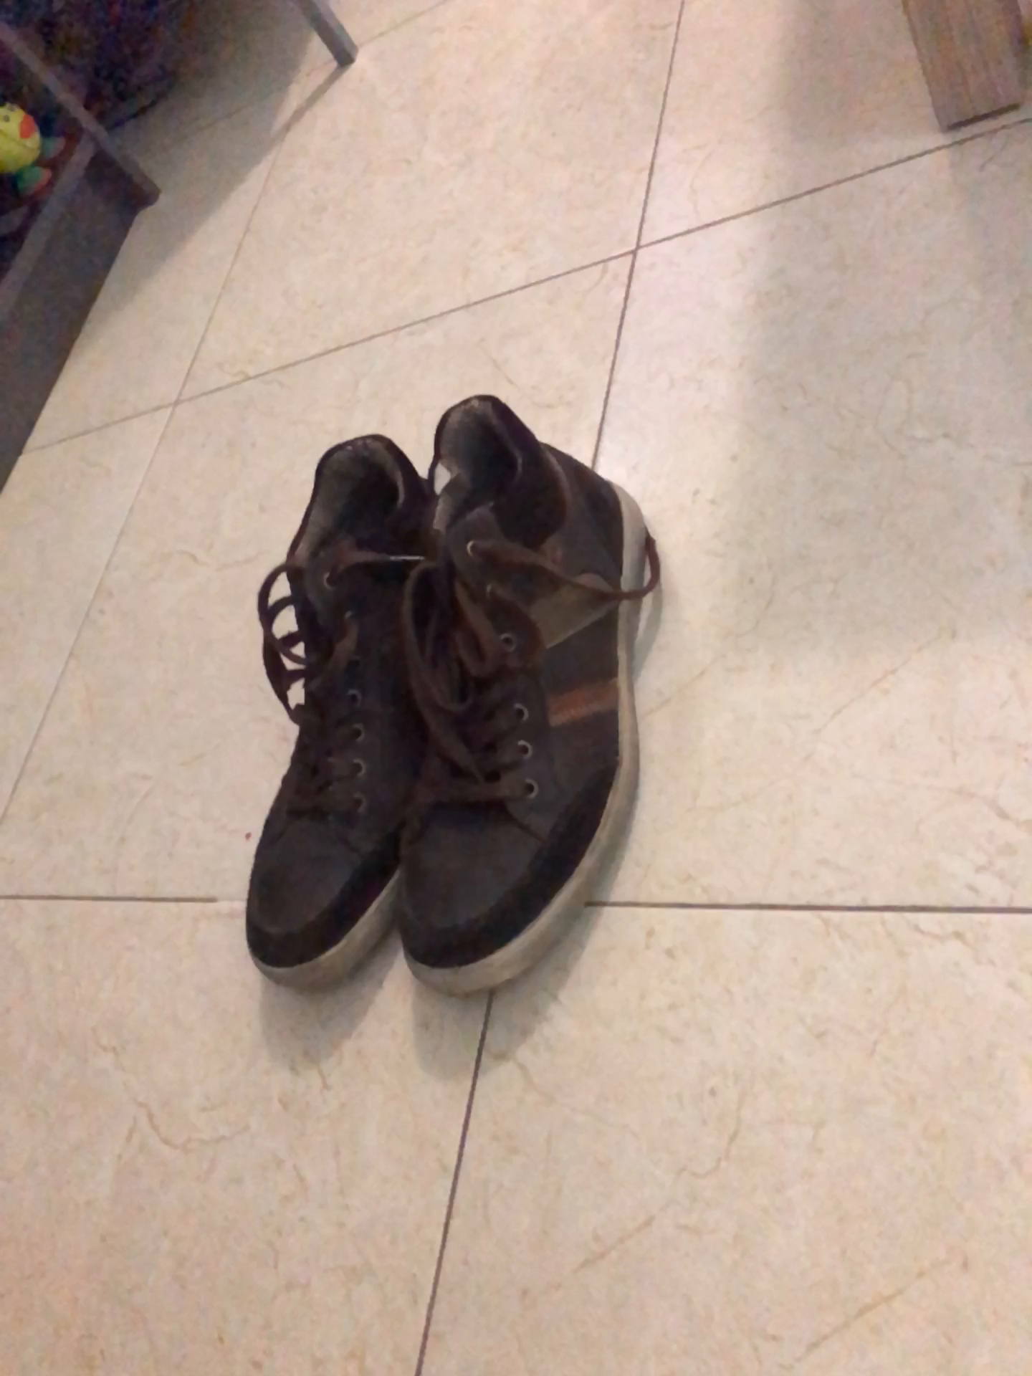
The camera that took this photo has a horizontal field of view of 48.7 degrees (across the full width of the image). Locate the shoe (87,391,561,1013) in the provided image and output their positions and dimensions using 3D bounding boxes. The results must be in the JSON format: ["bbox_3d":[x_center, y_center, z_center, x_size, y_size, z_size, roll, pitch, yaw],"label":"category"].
[{"bbox_3d":[-0.090,0.002,0.615,0.120,0.109,0.300,-1,61,35],"label":"shoe"}]

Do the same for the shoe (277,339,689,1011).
[{"bbox_3d":[-0.002,-0.007,0.560,0.120,0.109,0.301,-10,56,31],"label":"shoe"}]
